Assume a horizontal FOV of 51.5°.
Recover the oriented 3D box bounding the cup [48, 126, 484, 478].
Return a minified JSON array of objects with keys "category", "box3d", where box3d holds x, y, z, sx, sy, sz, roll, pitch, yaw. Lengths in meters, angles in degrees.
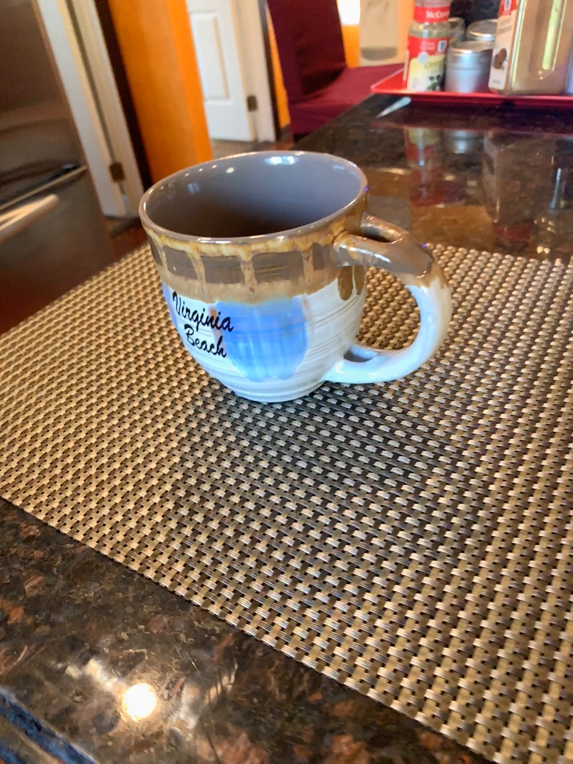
[{"category":"cup","box3d":[-0.007,-0.049,0.271,0.150,0.090,0.100,21,47,32]}]
